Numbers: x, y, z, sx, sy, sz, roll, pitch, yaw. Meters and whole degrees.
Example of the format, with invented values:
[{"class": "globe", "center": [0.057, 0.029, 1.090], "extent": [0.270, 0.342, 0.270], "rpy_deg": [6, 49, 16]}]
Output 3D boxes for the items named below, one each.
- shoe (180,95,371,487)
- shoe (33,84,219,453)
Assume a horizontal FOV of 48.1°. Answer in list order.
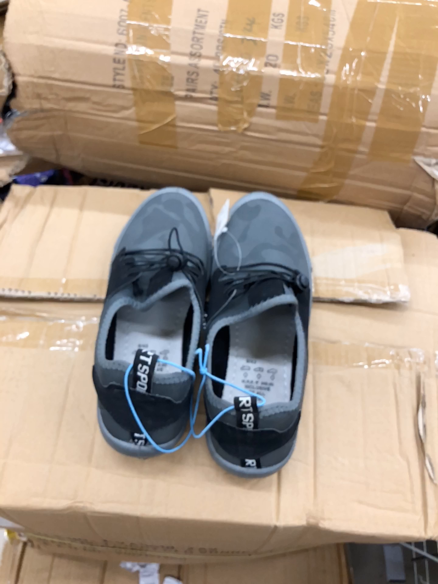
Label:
[{"class": "shoe", "center": [0.040, -0.011, 0.417], "extent": [0.110, 0.129, 0.301], "rpy_deg": [6, 57, -1]}, {"class": "shoe", "center": [-0.062, -0.027, 0.449], "extent": [0.110, 0.149, 0.301], "rpy_deg": [3, 57, -3]}]
